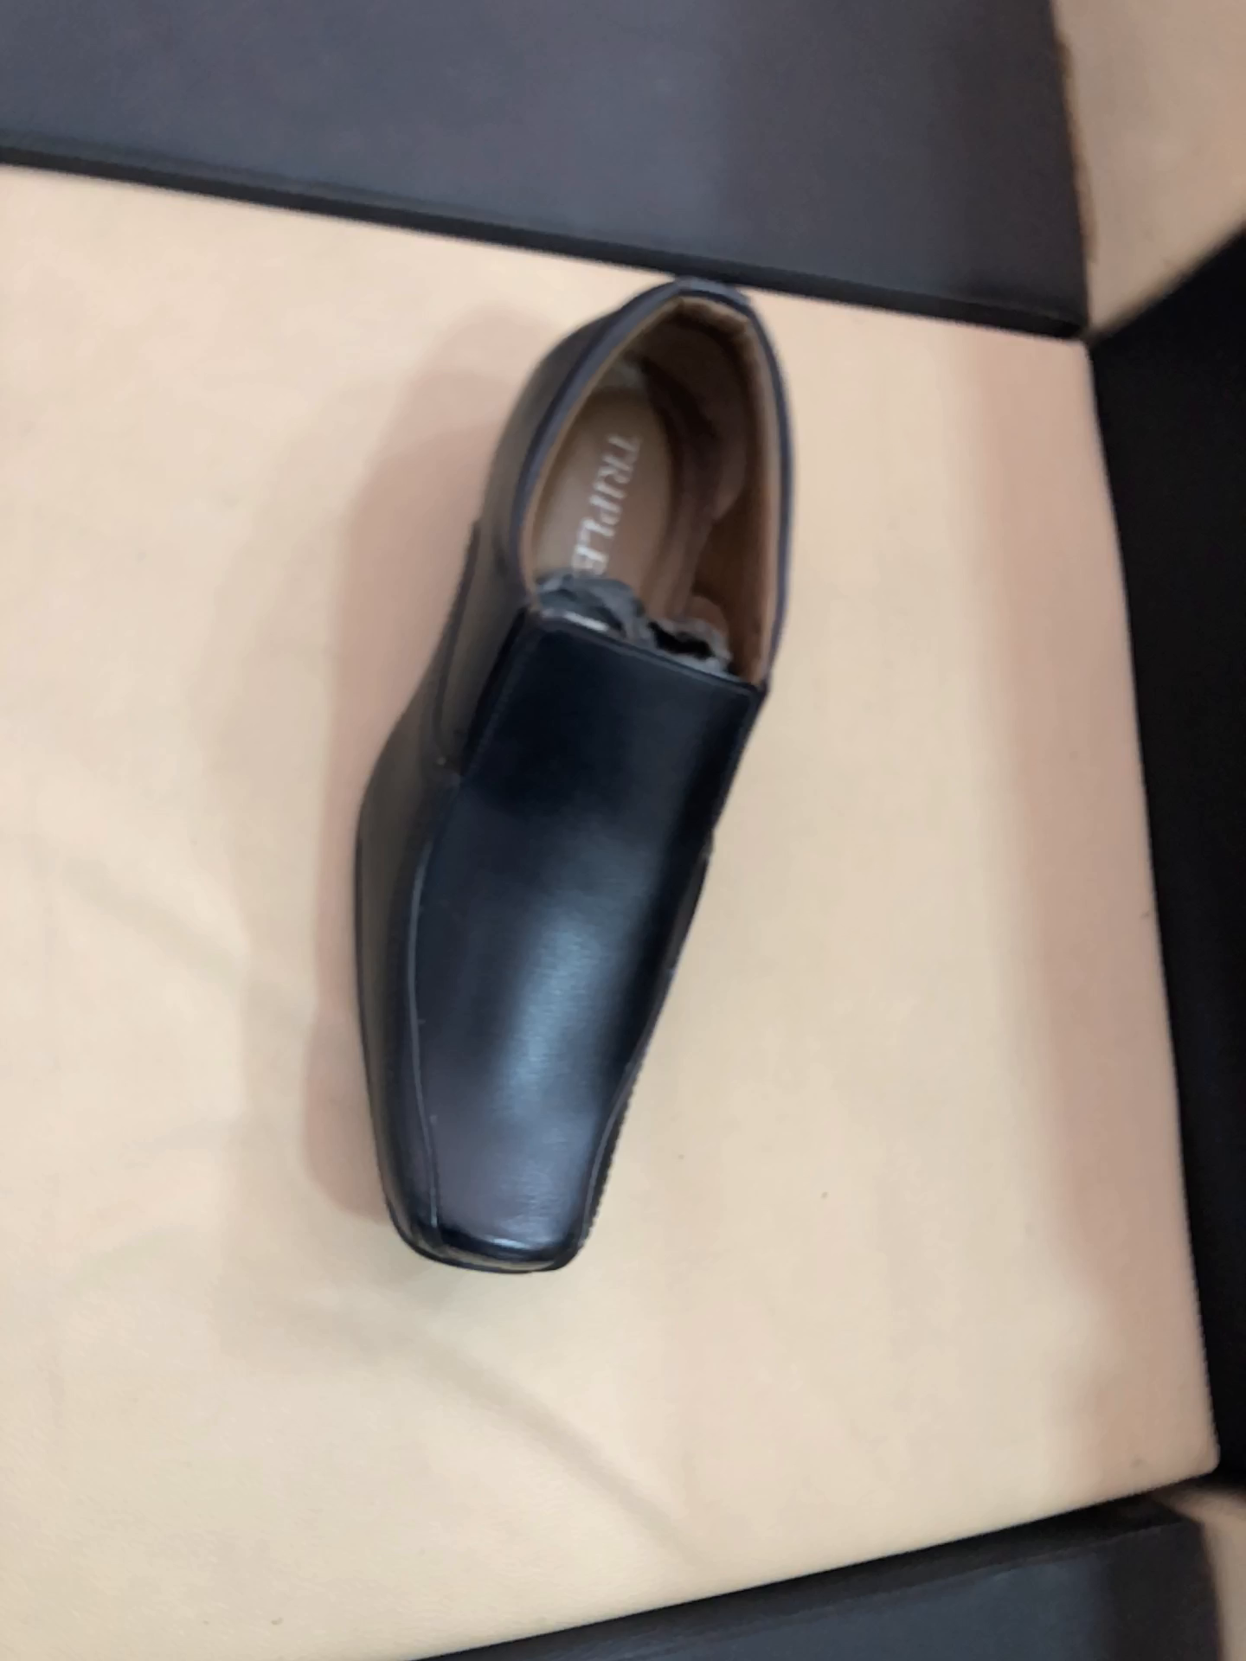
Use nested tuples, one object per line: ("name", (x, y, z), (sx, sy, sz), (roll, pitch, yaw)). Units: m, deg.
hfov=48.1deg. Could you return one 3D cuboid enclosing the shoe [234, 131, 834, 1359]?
("shoe", (-0.025, -0.024, 0.404), (0.090, 0.100, 0.310), (15, 76, -19))
